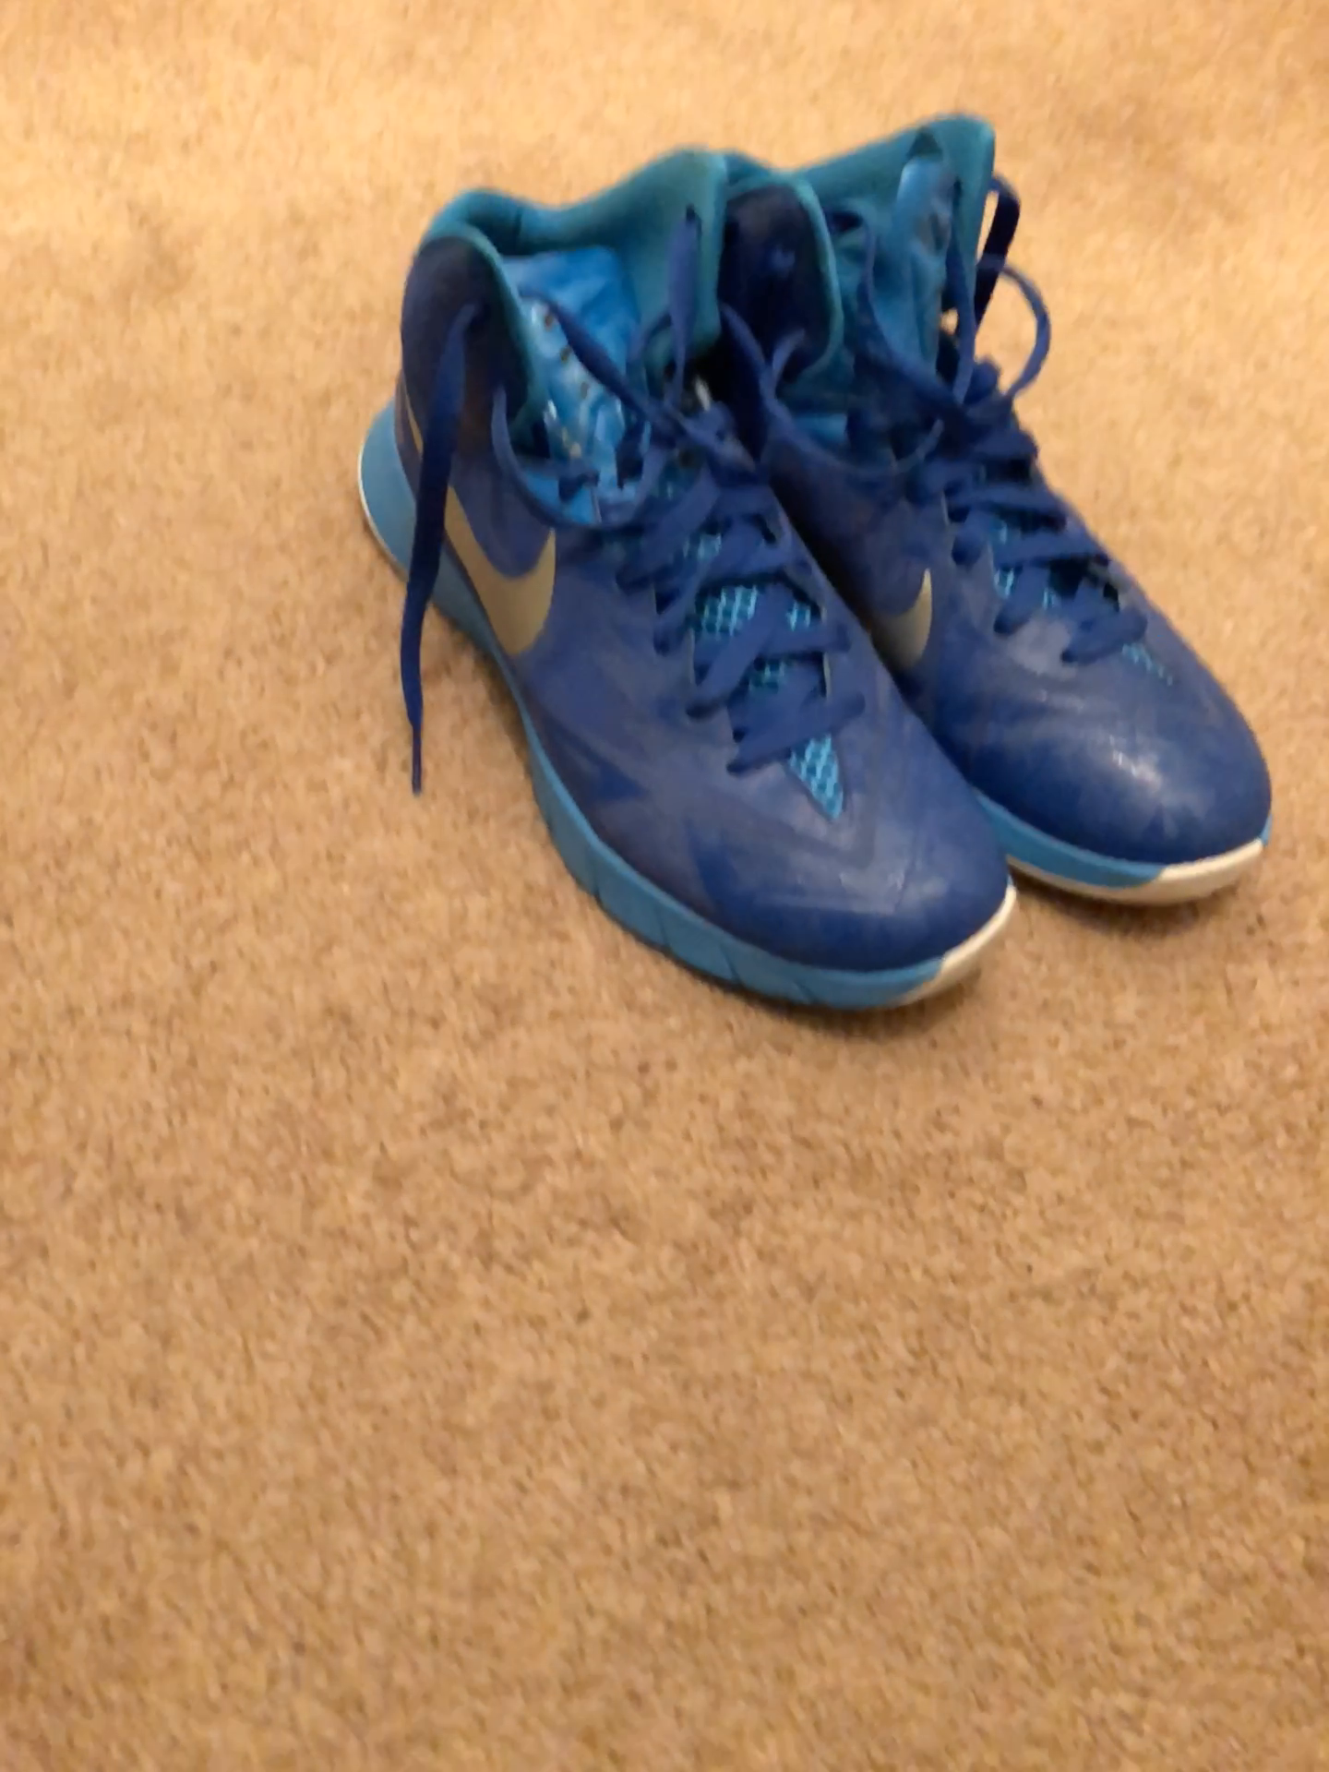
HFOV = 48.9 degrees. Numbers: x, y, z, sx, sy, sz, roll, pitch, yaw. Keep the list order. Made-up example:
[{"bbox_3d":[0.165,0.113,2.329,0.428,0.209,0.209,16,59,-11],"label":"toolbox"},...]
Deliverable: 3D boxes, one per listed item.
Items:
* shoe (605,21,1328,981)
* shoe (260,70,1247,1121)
[{"bbox_3d":[0.115,-0.134,0.475,0.122,0.134,0.280,-29,64,-23],"label":"shoe"},{"bbox_3d":[0.005,-0.096,0.437,0.121,0.134,0.279,-27,63,-22],"label":"shoe"}]
